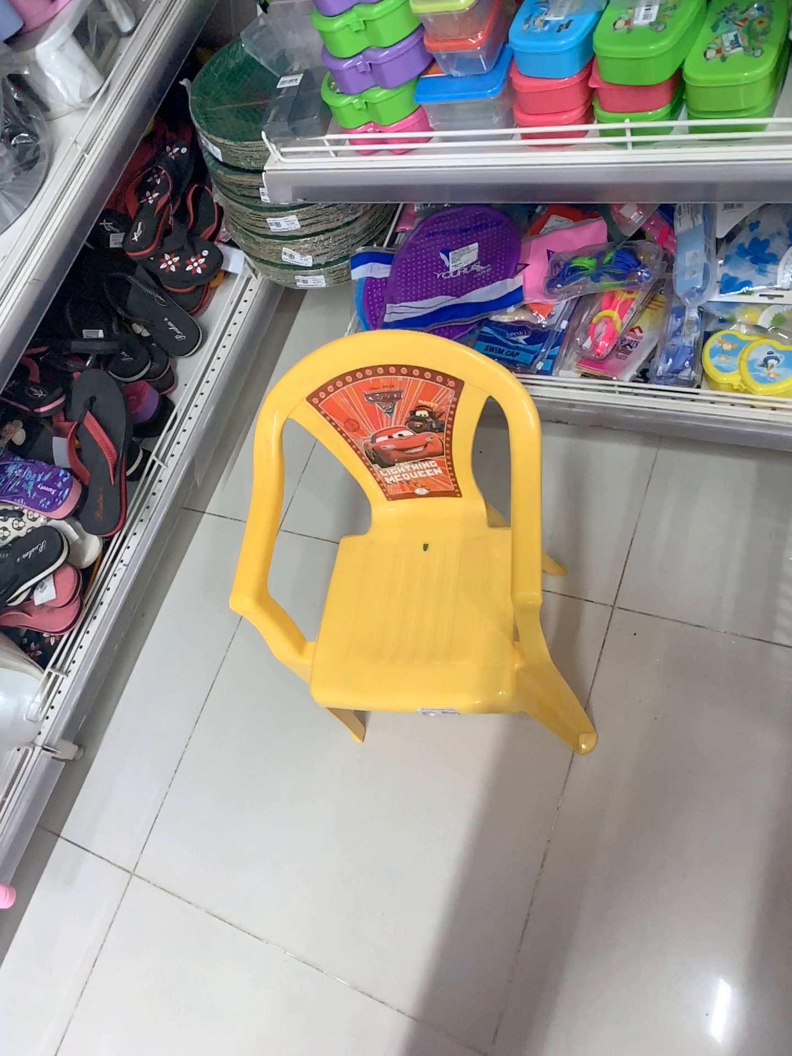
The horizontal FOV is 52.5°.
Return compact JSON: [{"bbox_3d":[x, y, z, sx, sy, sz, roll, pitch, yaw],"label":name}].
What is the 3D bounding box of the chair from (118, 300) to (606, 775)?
[{"bbox_3d":[0.023,0.061,0.979,0.391,0.498,0.370,-3,65,21],"label":"chair"}]
